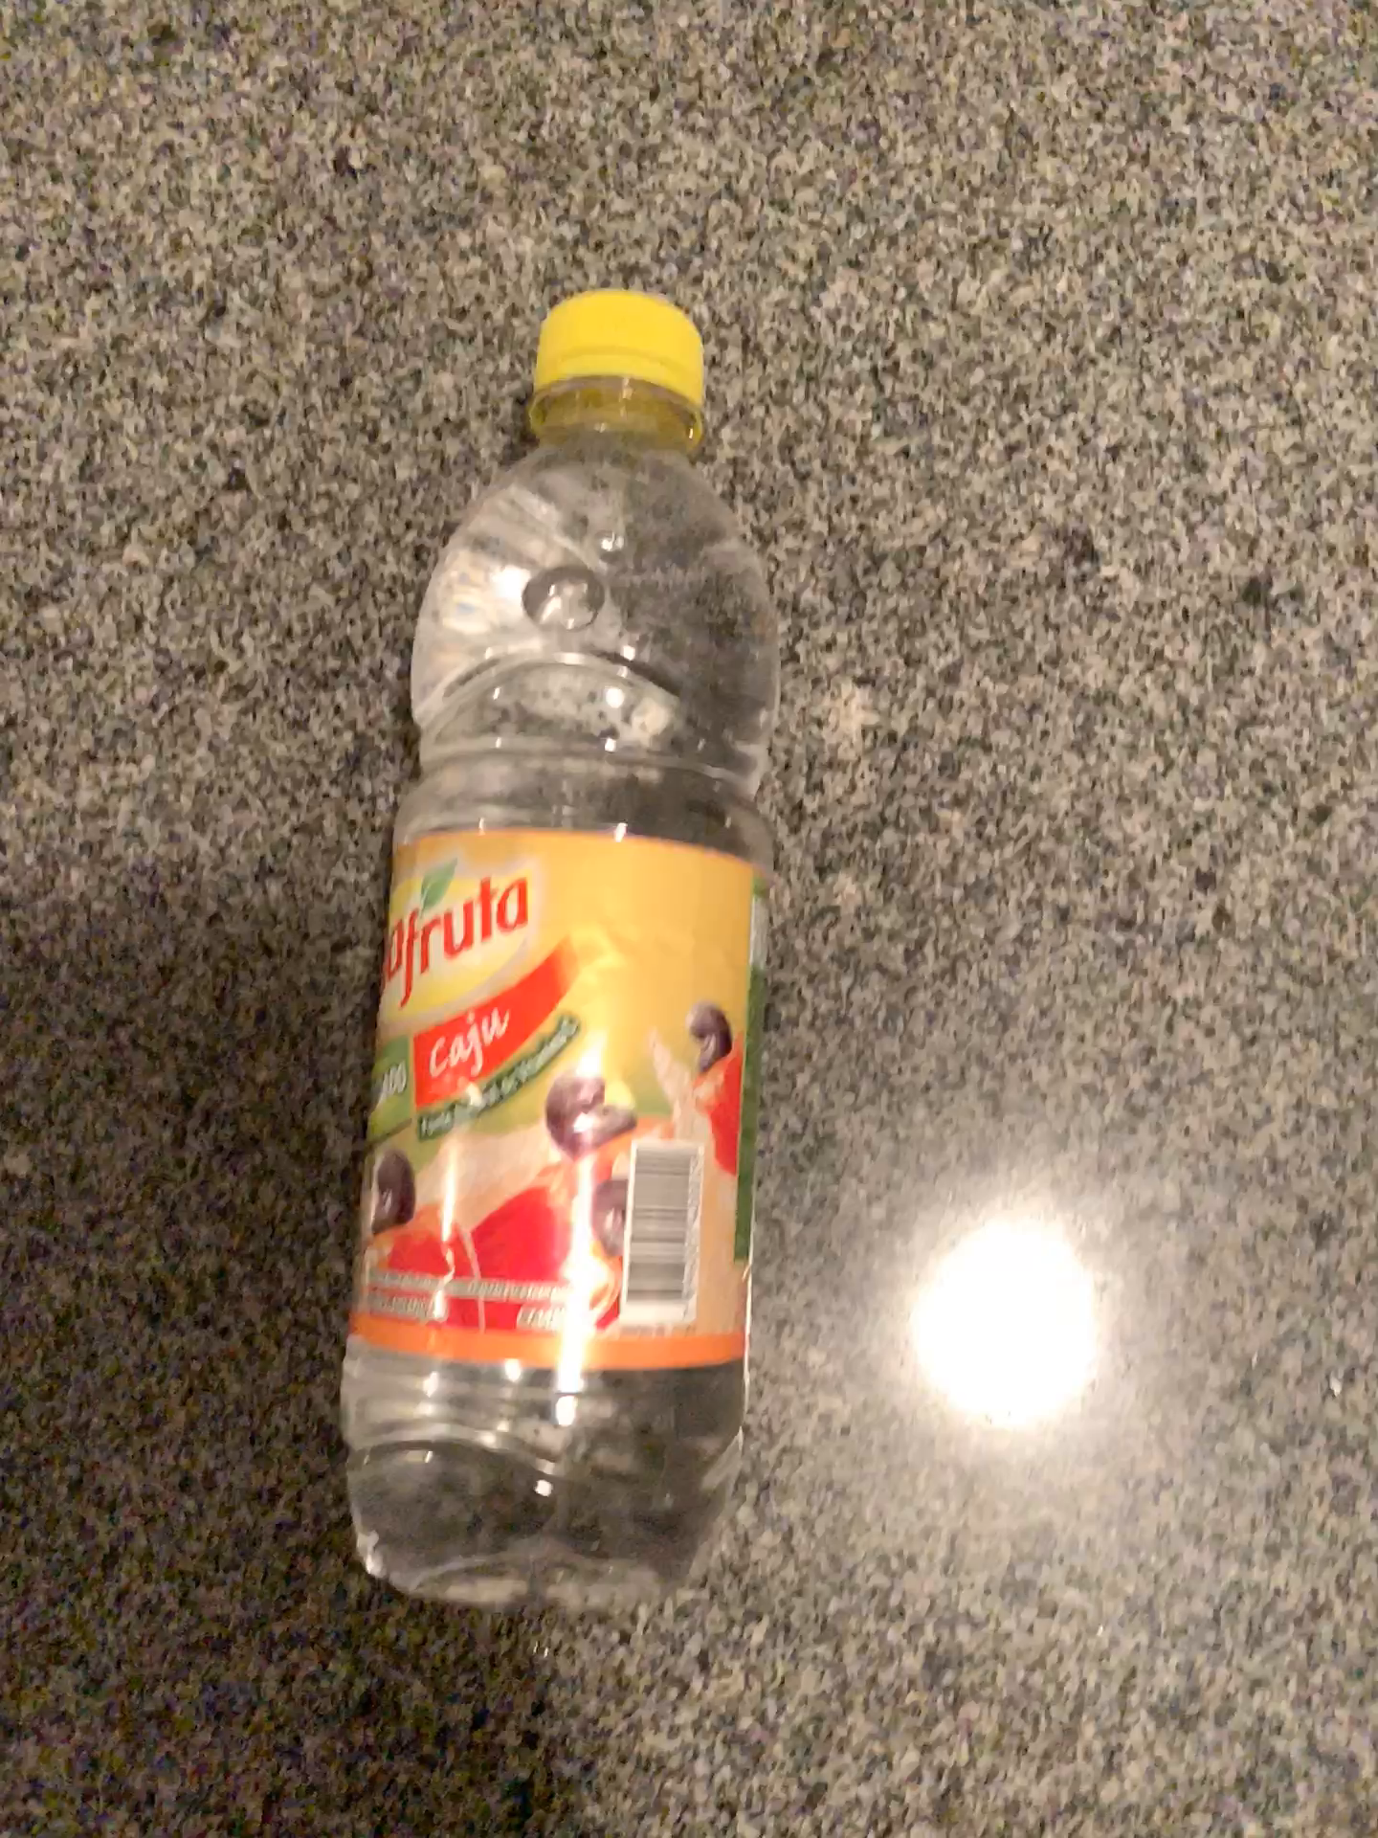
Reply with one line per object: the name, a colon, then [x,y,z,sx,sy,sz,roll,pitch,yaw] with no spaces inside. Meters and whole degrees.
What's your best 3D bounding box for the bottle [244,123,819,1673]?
bottle: [-0.019,-0.009,0.239,0.070,0.060,0.230,2,79,1]
